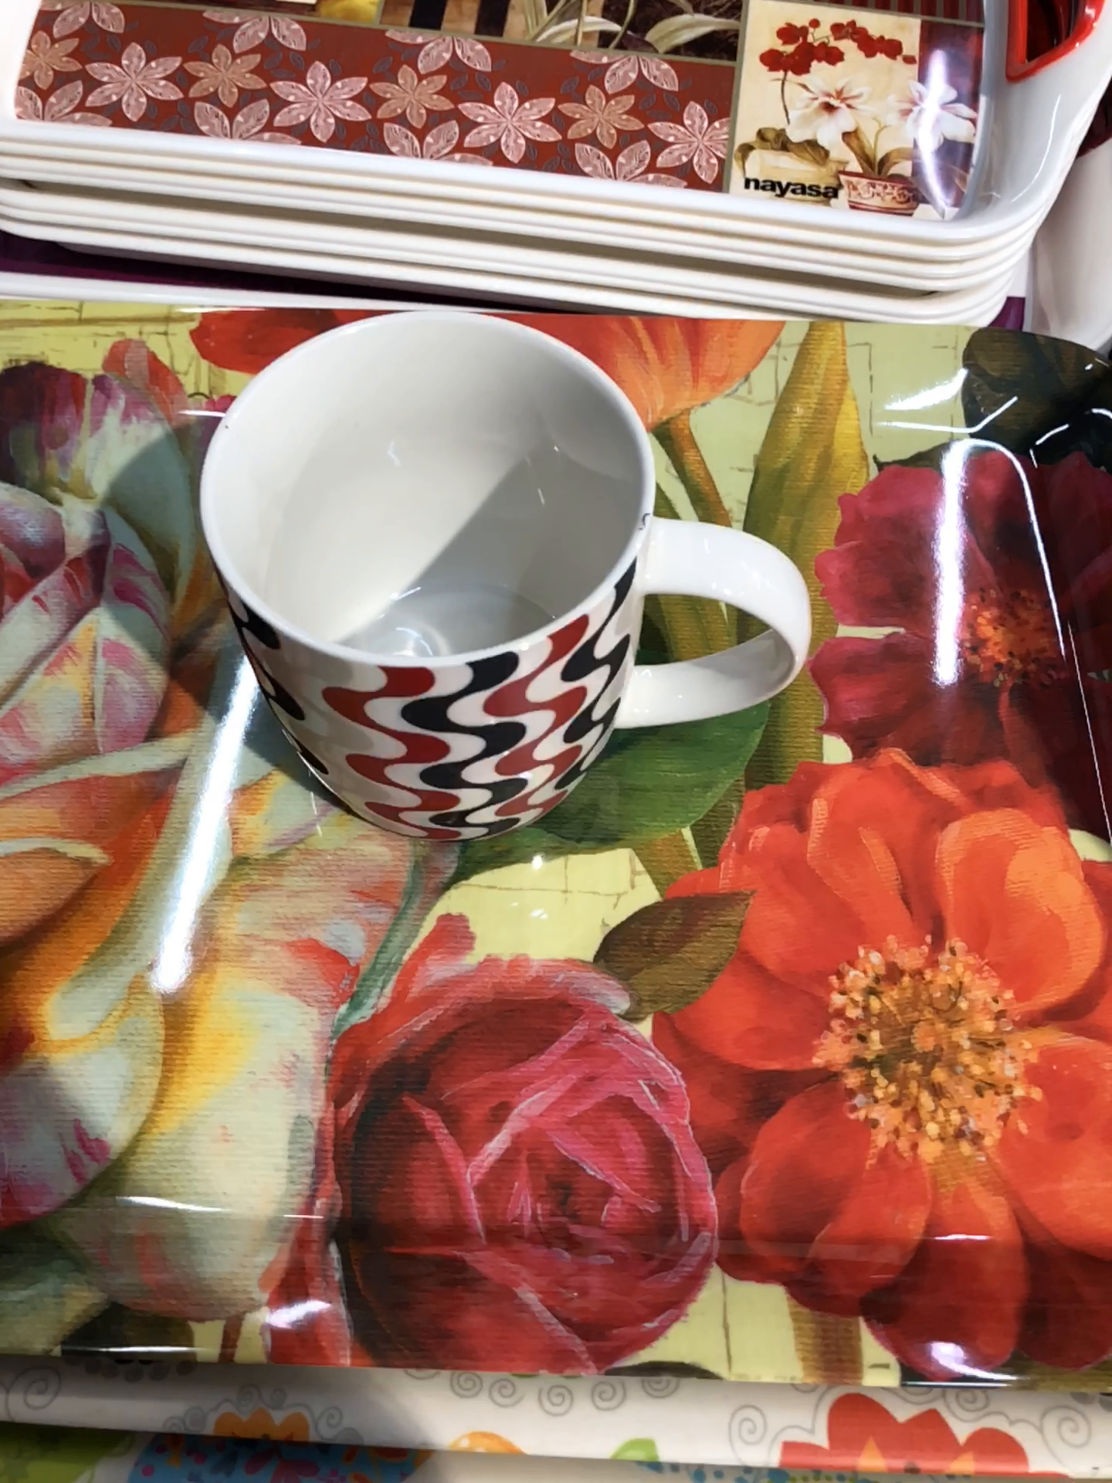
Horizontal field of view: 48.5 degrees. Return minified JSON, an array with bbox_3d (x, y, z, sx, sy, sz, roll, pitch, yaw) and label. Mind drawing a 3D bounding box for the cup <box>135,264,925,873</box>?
[{"bbox_3d":[-0.004,-0.034,0.261,0.130,0.080,0.090,3,58,-1],"label":"cup"}]
